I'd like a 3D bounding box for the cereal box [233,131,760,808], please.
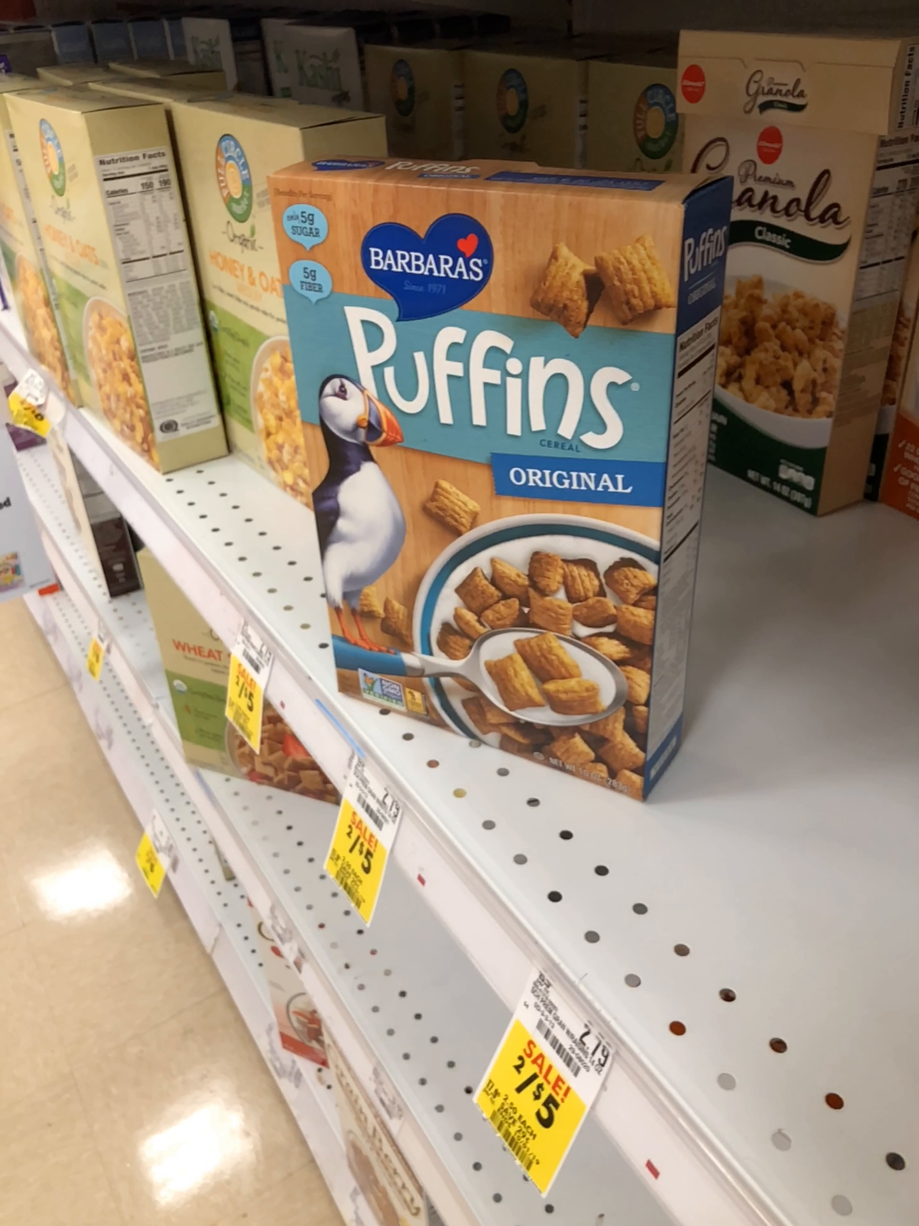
[{"bbox_3d":[0.015,-0.062,0.445,0.190,0.259,0.060,16,37,29],"label":"cereal box"}]
